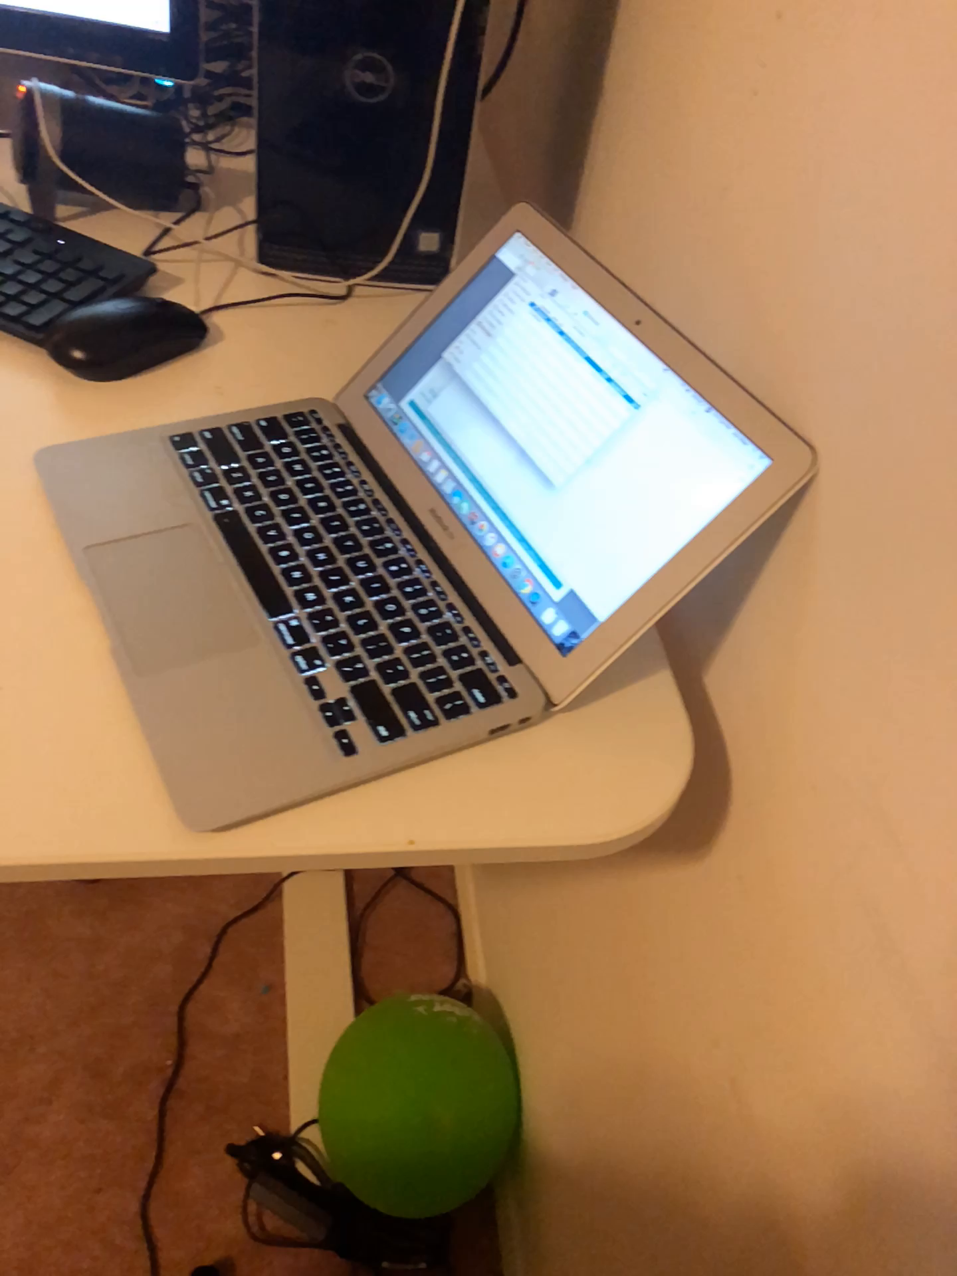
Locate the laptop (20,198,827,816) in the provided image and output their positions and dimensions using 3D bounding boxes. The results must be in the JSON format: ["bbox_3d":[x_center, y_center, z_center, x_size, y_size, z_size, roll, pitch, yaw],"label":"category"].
[{"bbox_3d":[-0.047,-0.100,0.555,0.305,0.126,0.281,-17,48,-23],"label":"laptop"}]
